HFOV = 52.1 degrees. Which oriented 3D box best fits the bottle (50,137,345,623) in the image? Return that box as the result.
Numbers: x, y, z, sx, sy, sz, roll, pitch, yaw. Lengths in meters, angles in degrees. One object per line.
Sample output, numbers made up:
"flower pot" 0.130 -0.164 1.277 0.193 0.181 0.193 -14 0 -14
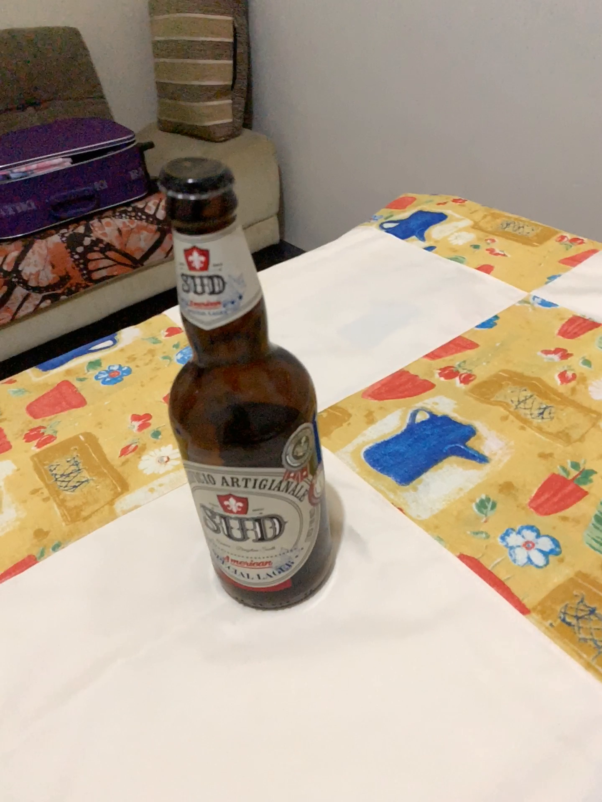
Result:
"bottle" -0.029 0.007 0.304 0.080 0.239 0.070 2 39 12
